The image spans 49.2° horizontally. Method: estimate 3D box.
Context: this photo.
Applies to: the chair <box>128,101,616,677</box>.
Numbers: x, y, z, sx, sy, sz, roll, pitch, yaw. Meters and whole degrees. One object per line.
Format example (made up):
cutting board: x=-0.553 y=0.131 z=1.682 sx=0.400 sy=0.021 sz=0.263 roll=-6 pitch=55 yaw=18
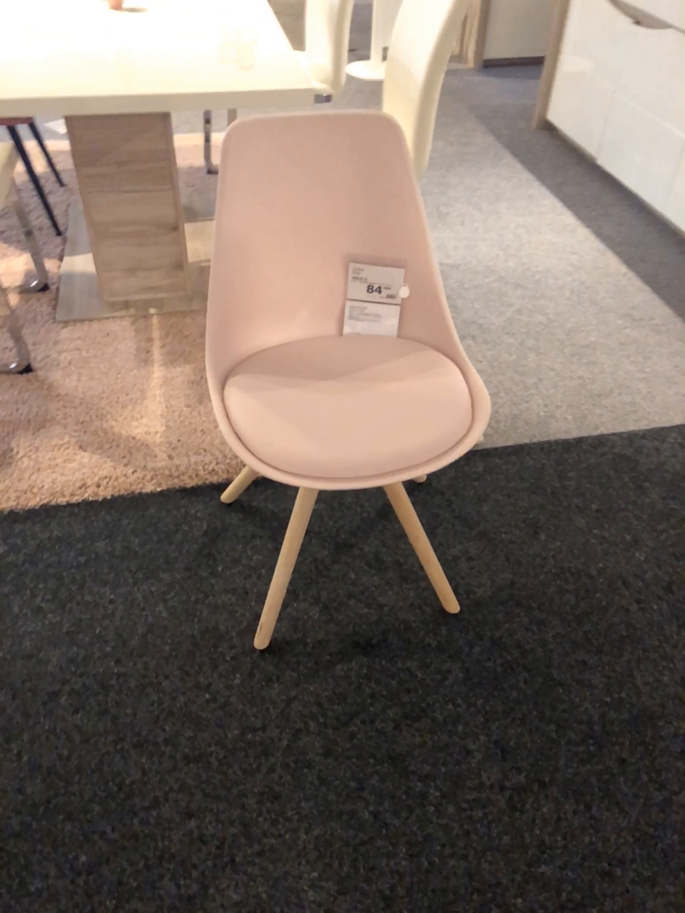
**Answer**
chair: x=-0.018 y=-0.121 z=1.317 sx=0.571 sy=0.765 sz=0.563 roll=-8 pitch=42 yaw=-11
